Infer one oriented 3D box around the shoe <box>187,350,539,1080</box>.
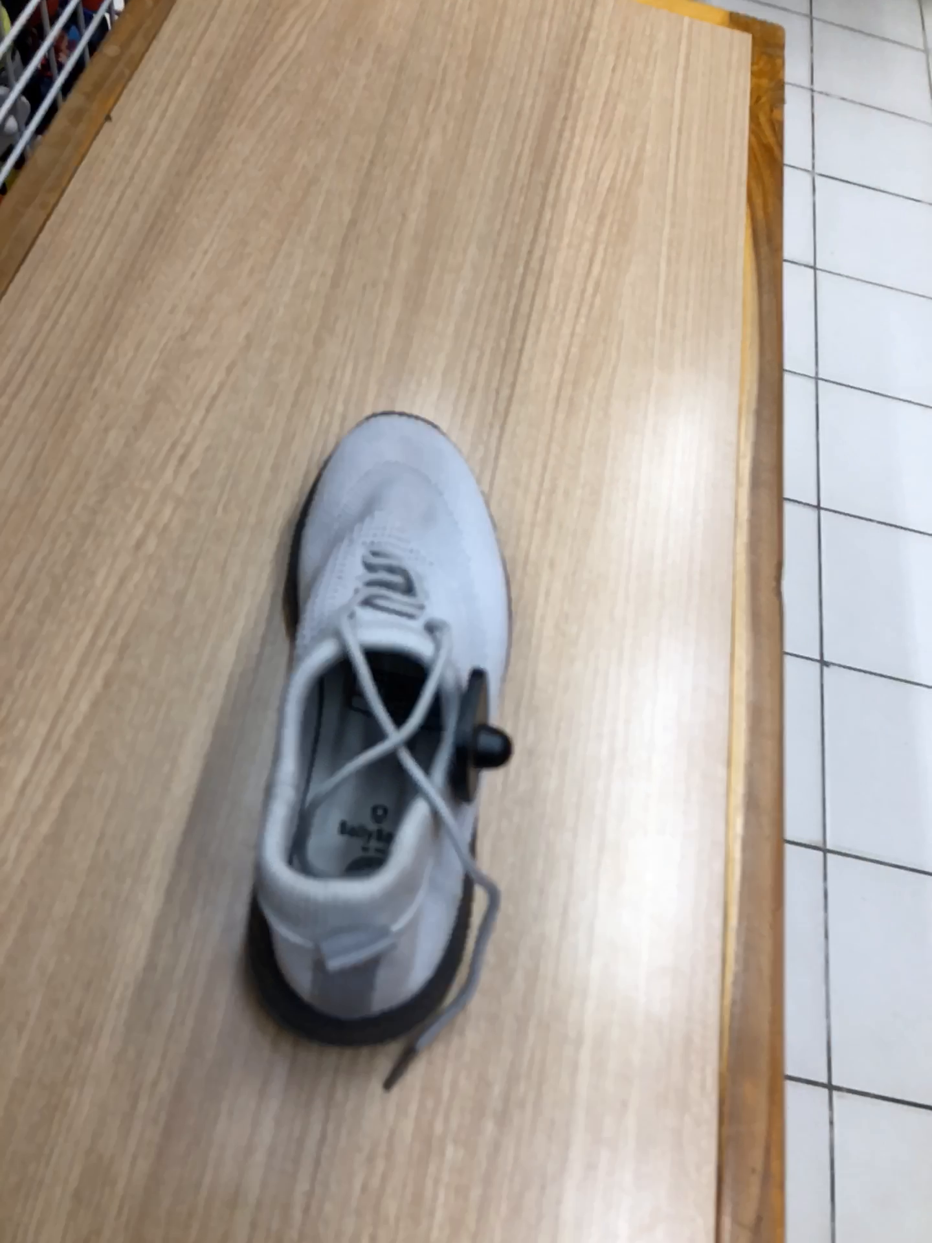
[{"bbox_3d":[-0.033,0.031,0.416,0.100,0.099,0.271,8,59,-7],"label":"shoe"}]
